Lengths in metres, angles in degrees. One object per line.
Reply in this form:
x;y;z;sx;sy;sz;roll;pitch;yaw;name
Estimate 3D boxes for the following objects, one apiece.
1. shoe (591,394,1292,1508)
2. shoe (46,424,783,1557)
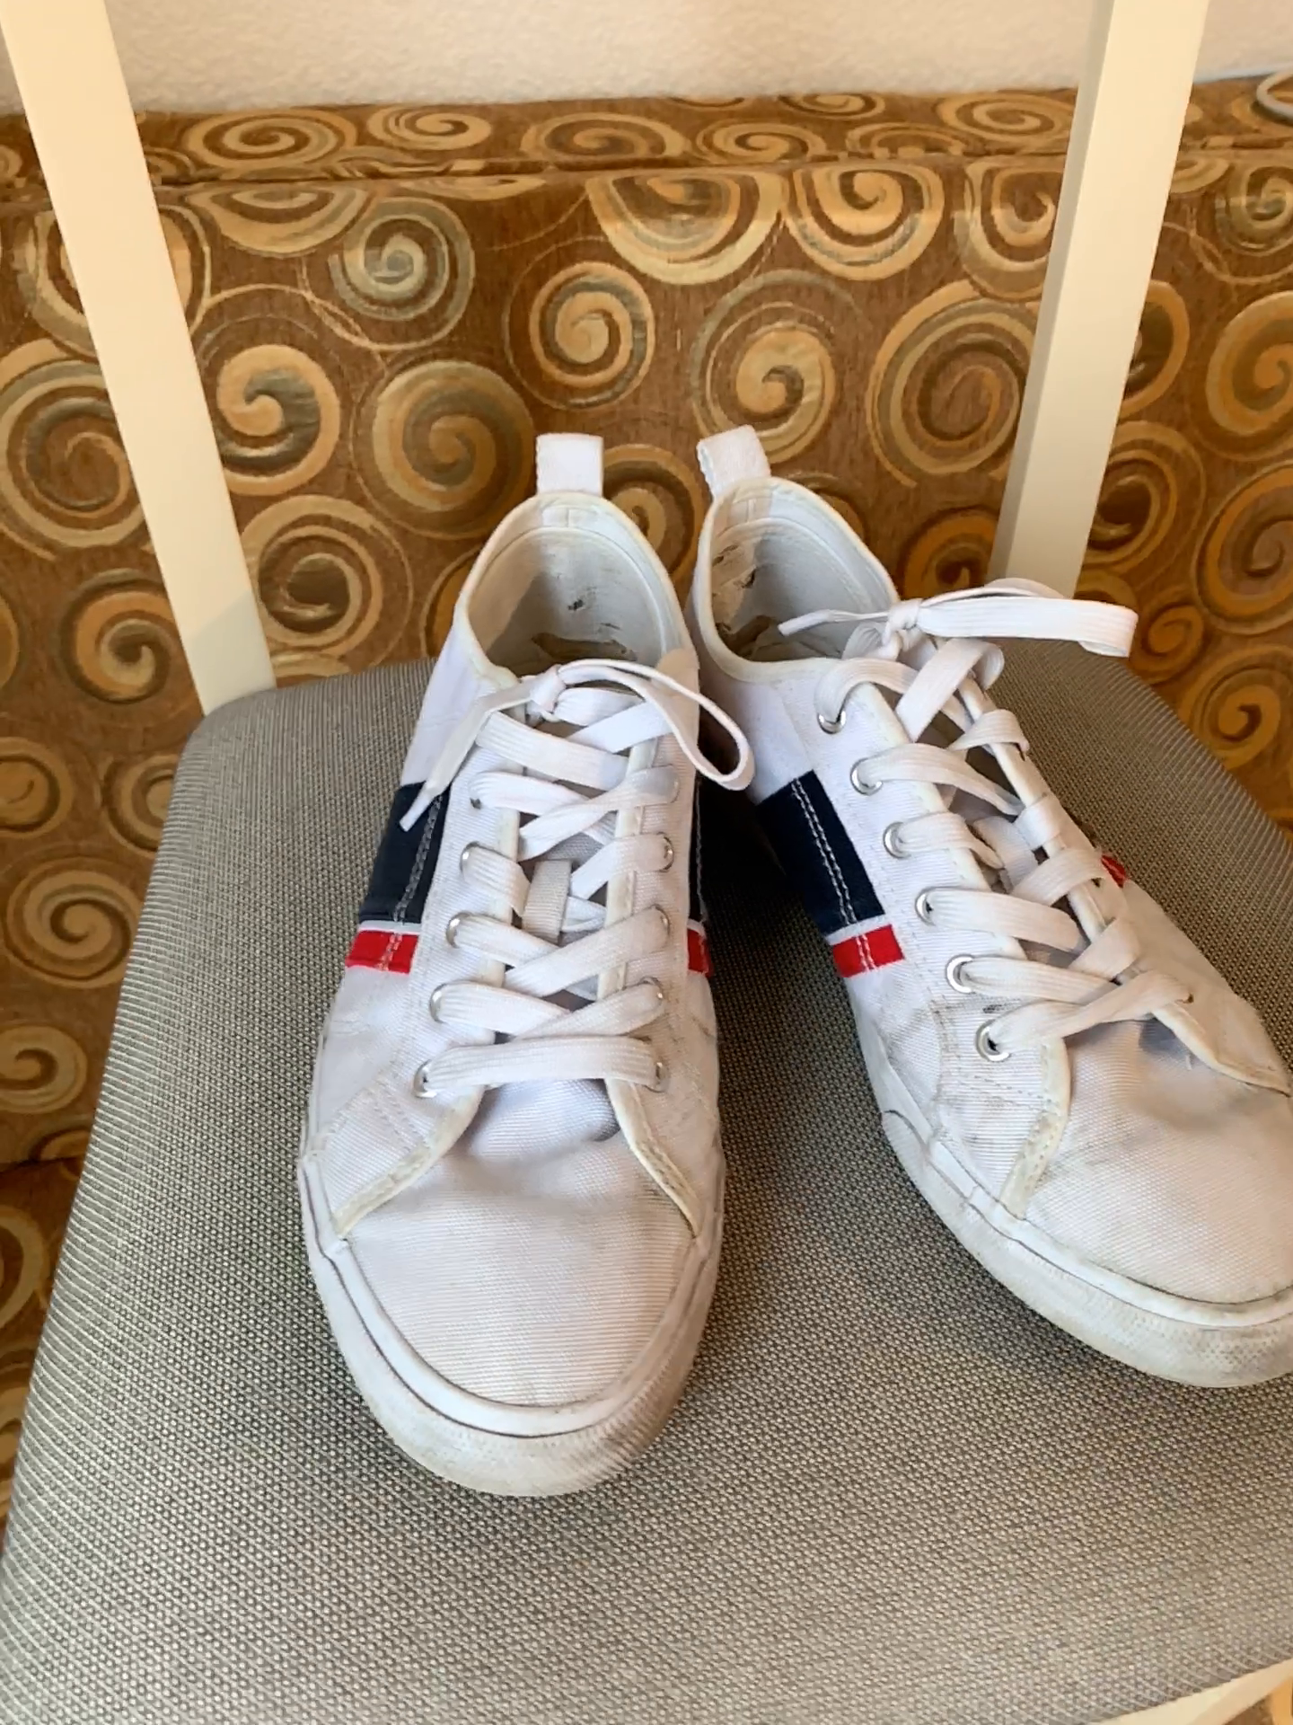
0.090;-0.001;0.349;0.110;0.090;0.271;-19;54;-17;shoe
-0.036;0.010;0.341;0.120;0.090;0.281;2;51;-1;shoe
